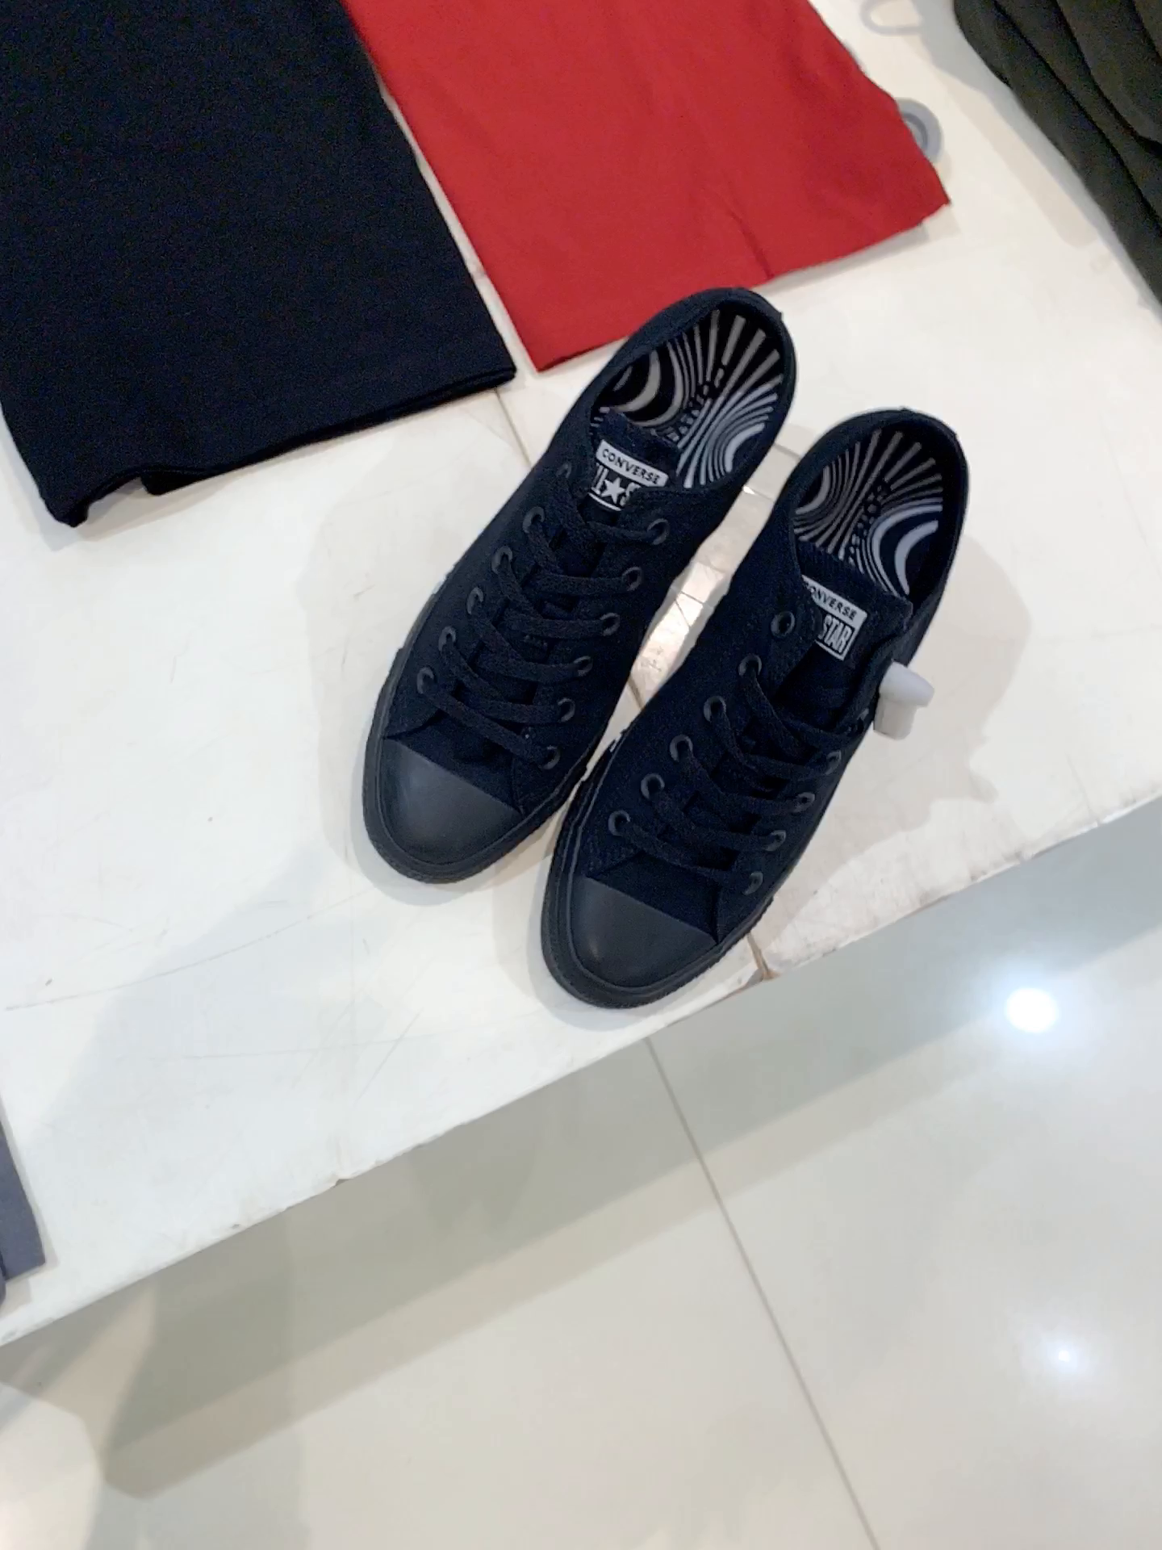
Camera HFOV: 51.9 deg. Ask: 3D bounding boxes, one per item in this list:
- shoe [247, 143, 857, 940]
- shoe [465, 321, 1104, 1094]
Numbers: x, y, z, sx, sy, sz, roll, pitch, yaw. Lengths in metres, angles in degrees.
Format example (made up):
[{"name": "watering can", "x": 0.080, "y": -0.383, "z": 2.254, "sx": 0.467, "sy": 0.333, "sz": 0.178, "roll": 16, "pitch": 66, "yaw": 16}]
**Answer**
[{"name": "shoe", "x": -0.016, "y": -0.089, "z": 0.497, "sx": 0.090, "sy": 0.100, "sz": 0.290, "roll": 31, "pitch": 96, "yaw": -7}, {"name": "shoe", "x": 0.071, "y": -0.025, "z": 0.484, "sx": 0.100, "sy": 0.100, "sz": 0.270, "roll": 32, "pitch": 97, "yaw": -3}]
